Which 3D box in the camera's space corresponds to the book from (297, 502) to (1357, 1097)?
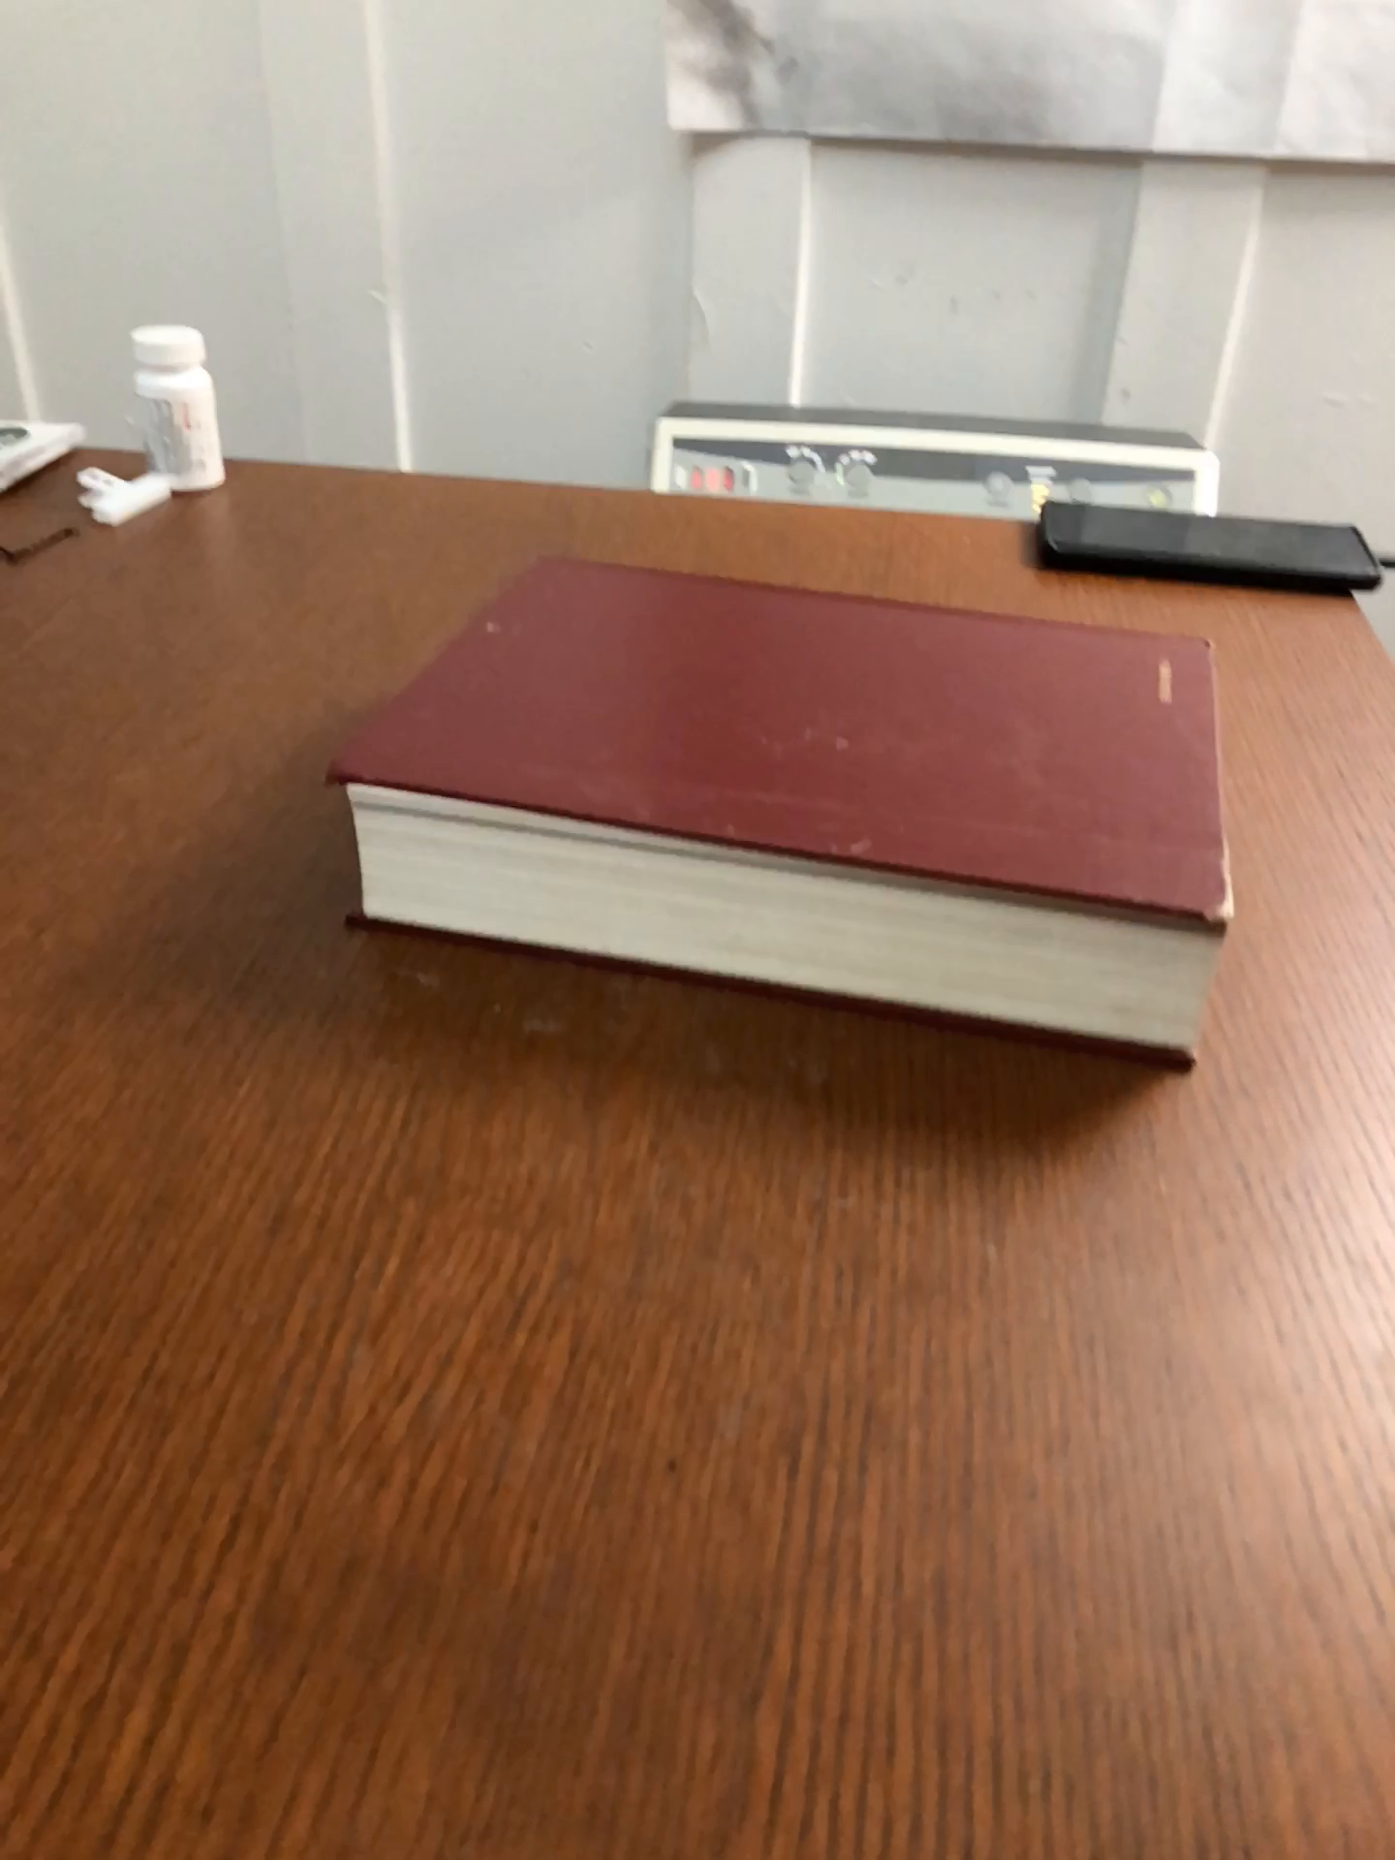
[{"bbox_3d":[0.052,-0.064,0.521,0.290,0.070,0.221,9,33,11],"label":"book"}]
